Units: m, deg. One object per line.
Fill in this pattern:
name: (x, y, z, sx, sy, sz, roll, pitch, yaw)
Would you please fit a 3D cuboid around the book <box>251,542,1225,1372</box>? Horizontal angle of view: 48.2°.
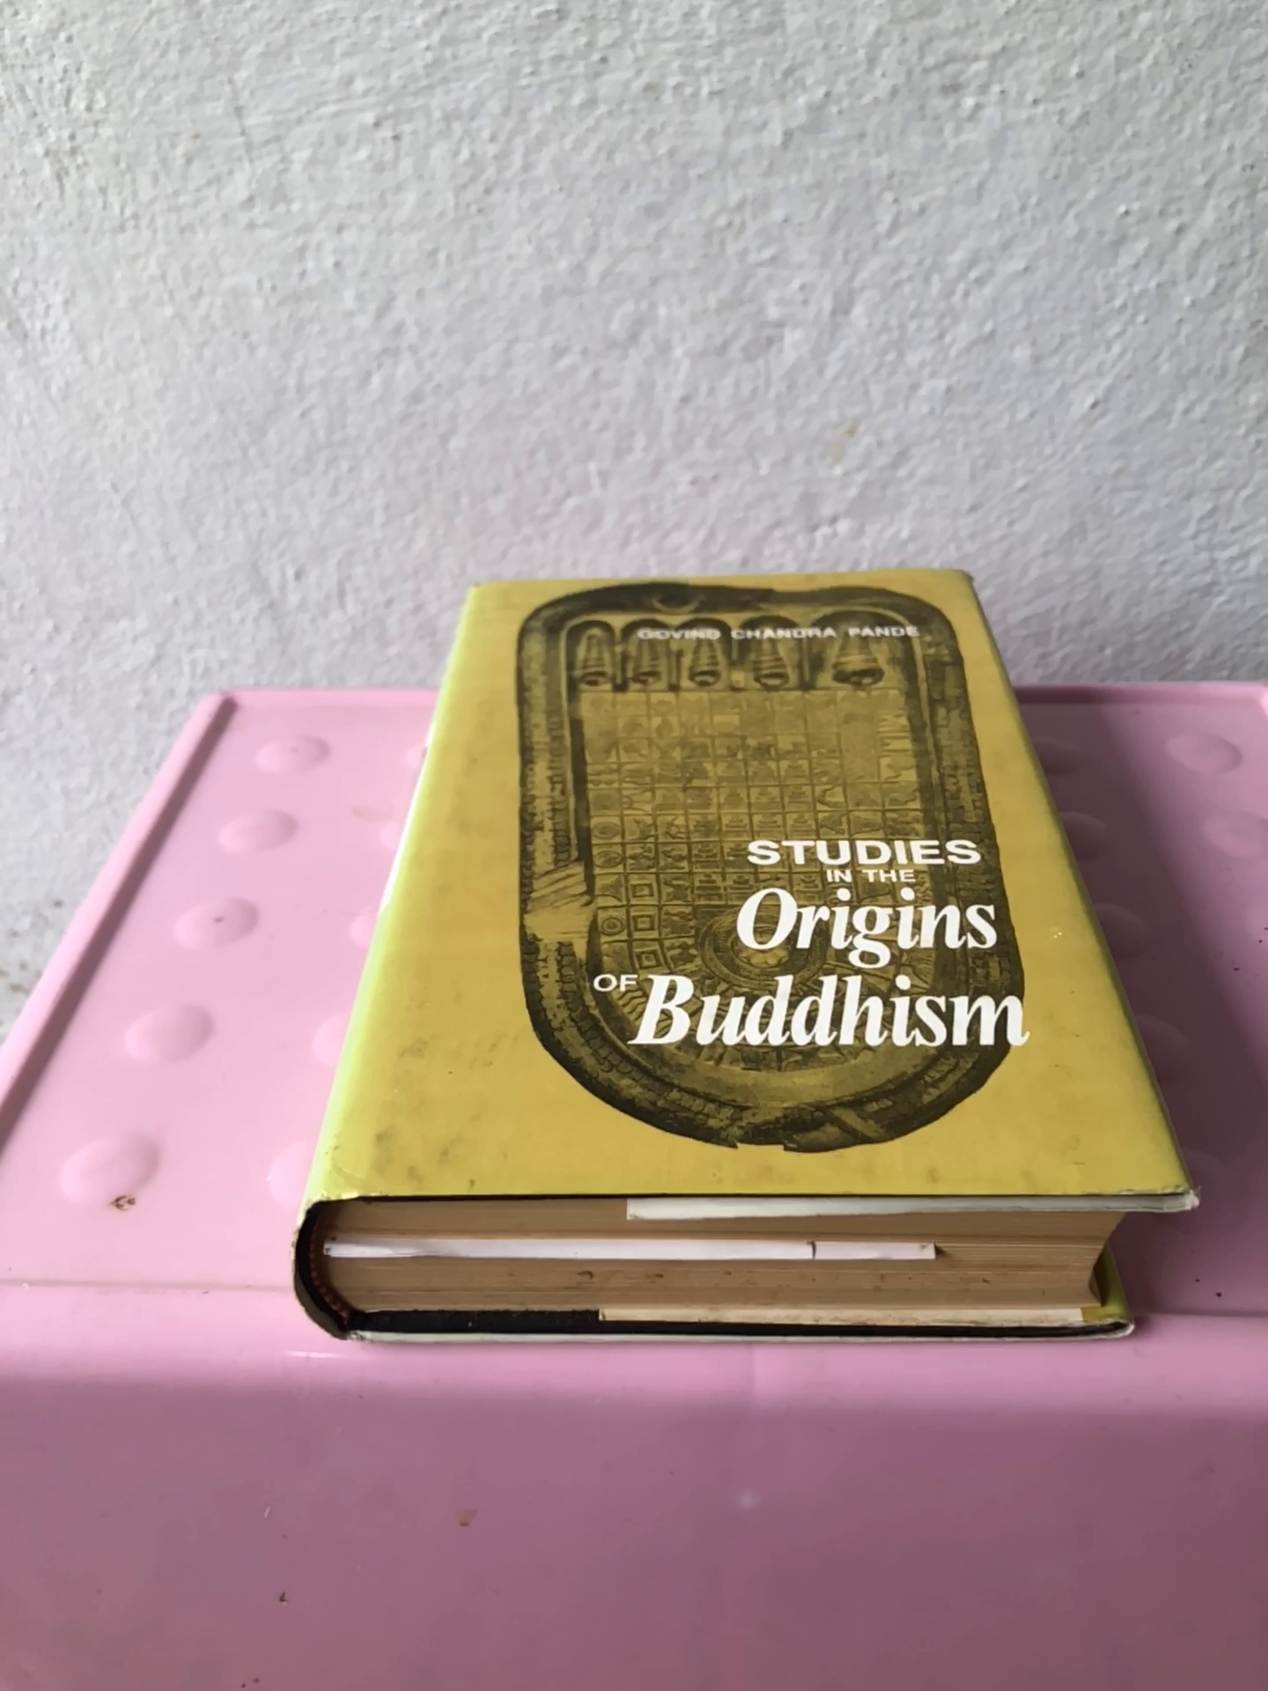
book: (0.019, 0.000, 0.327, 0.150, 0.040, 0.241, 0, 37, 2)
